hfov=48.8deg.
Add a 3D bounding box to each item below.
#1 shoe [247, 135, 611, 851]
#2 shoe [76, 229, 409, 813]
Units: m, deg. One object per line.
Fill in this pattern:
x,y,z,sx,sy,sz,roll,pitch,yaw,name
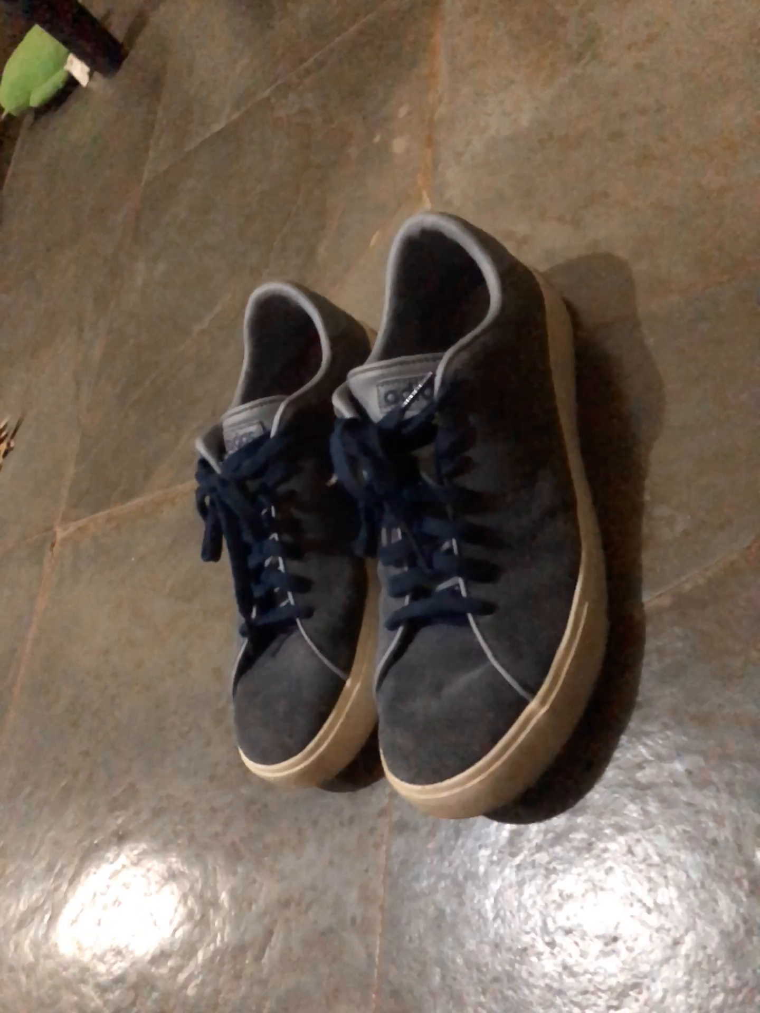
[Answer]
0.031,-0.007,0.367,0.110,0.080,0.281,-14,60,39,shoe
-0.061,0.009,0.428,0.110,0.080,0.271,-16,59,38,shoe
